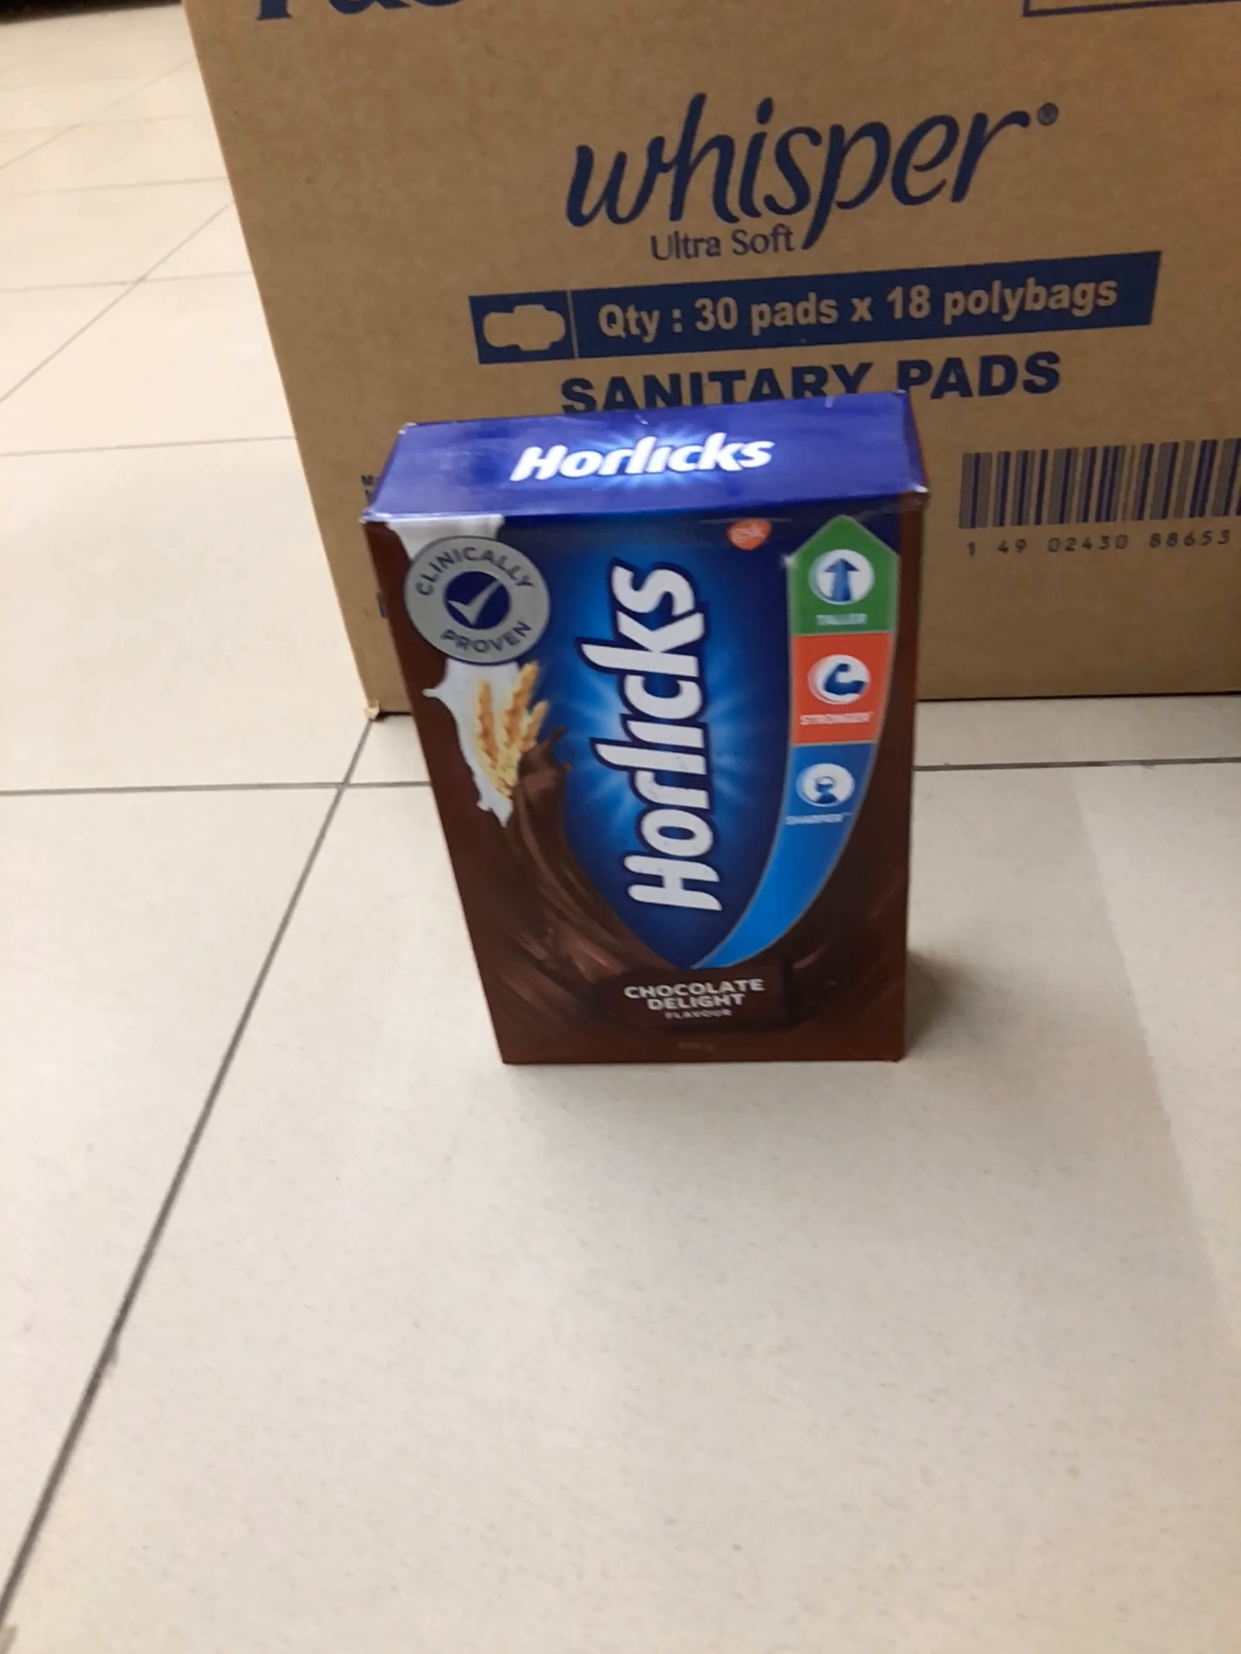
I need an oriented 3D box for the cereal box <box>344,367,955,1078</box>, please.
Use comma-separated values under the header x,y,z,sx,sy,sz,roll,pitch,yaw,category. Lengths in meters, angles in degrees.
x,y,z,sx,sy,sz,roll,pitch,yaw,category
0.018,-0.019,0.394,0.140,0.199,0.060,-1,38,9,cereal box
